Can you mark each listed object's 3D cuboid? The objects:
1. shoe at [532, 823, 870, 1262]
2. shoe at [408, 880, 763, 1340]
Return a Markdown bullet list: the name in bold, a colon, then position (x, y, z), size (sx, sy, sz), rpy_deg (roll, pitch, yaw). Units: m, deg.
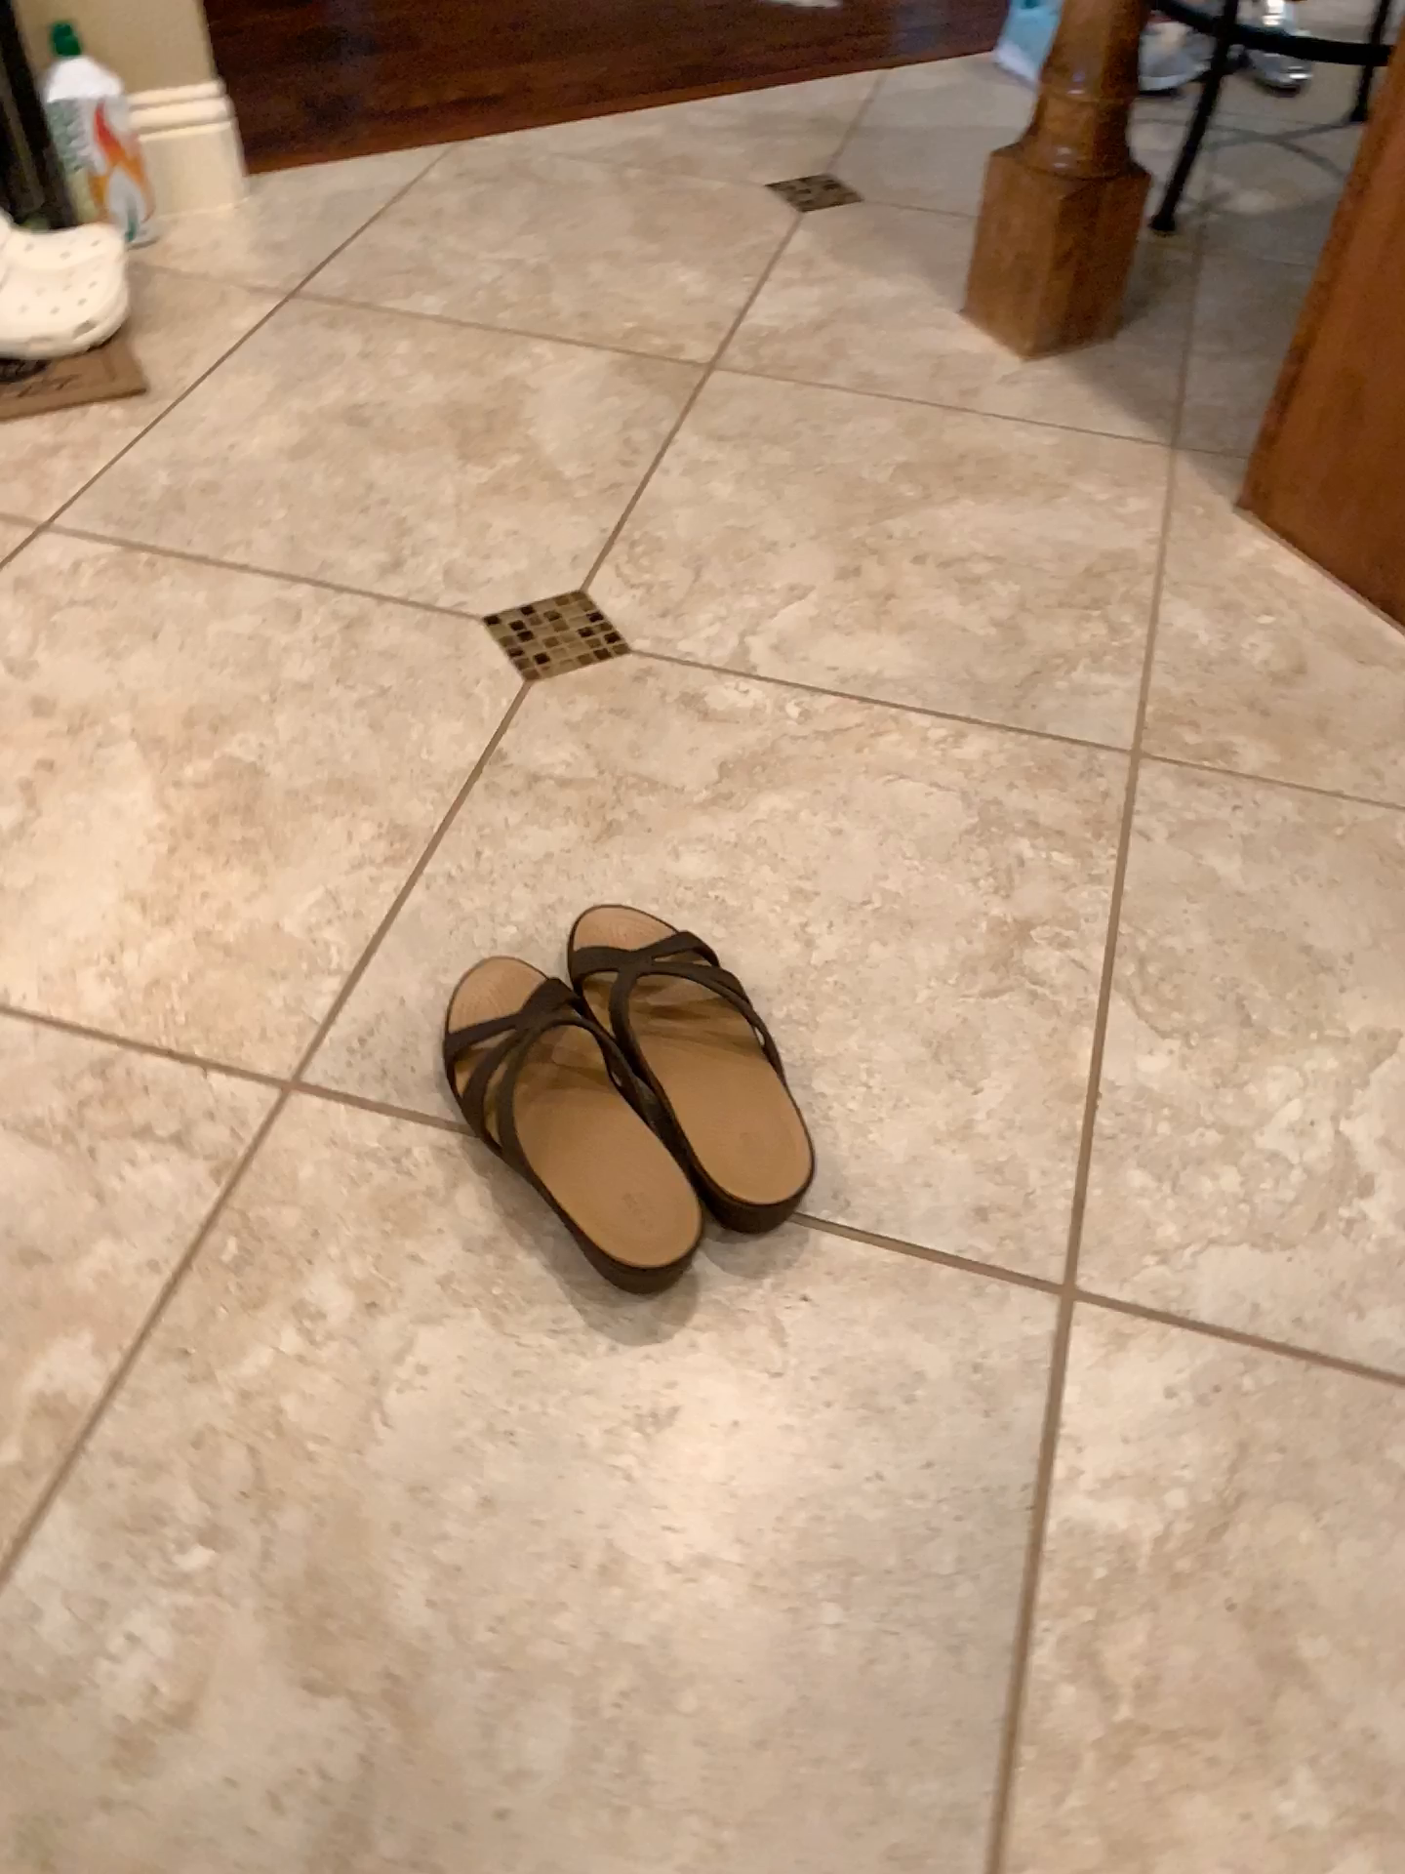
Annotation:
- **shoe**: position (-0.010, 0.058, 0.915), size (0.110, 0.092, 0.259), rpy_deg (-18, 51, -18)
- **shoe**: position (-0.079, 0.099, 0.901), size (0.110, 0.092, 0.264), rpy_deg (-21, 52, -20)
